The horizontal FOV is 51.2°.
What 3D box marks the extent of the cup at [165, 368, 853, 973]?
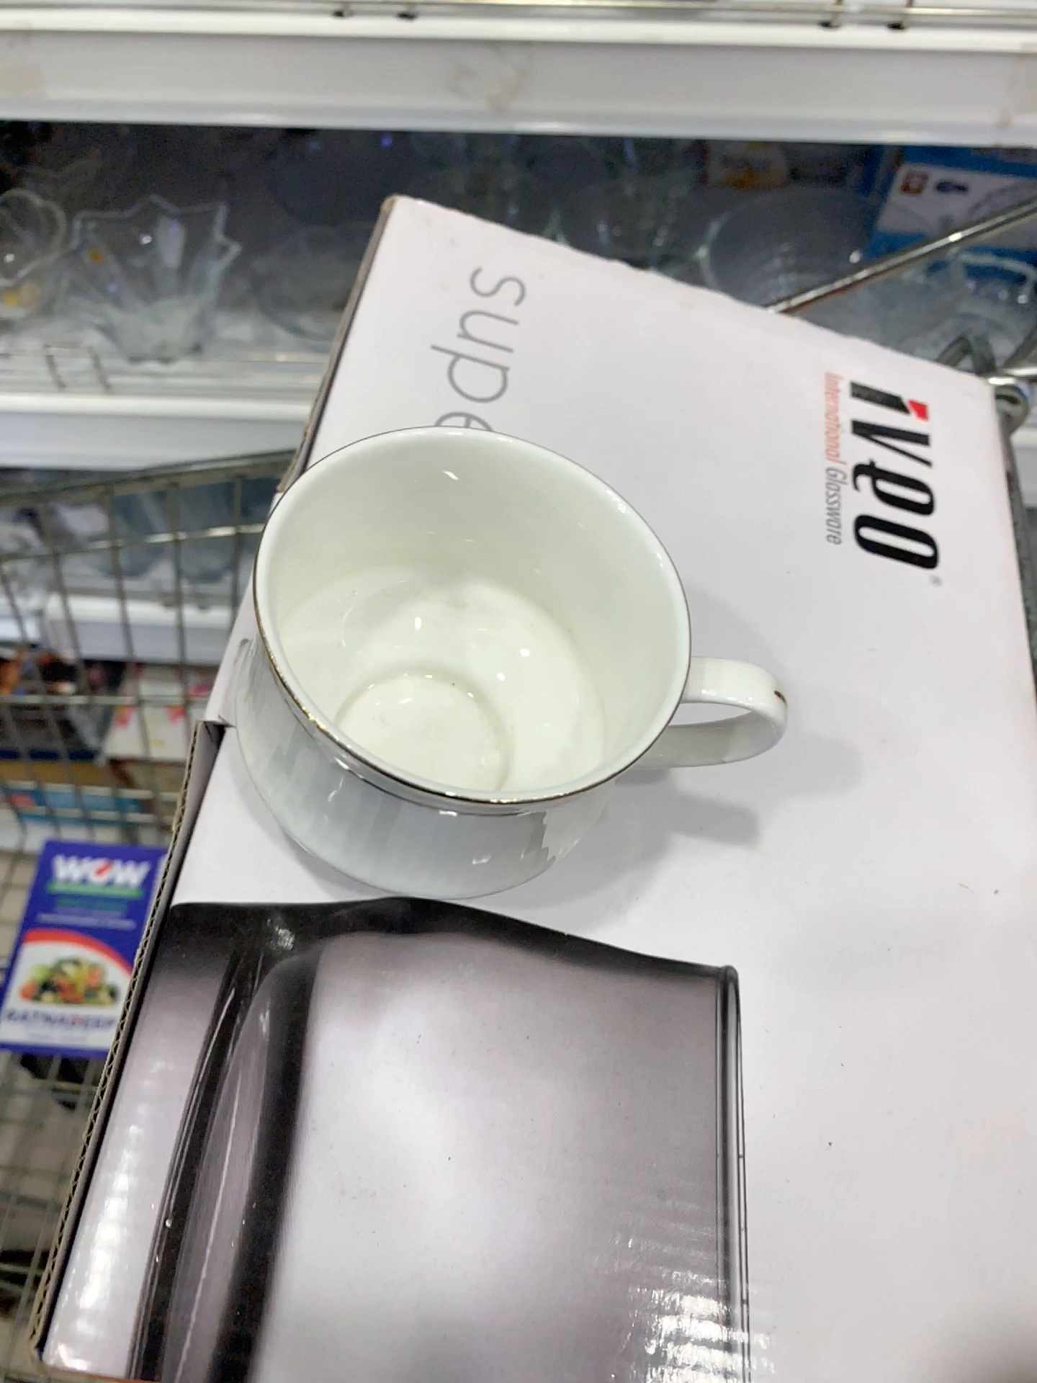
[{"bbox_3d":[-0.002,0.001,0.174,0.090,0.050,0.060,15,58,-13],"label":"cup"}]
